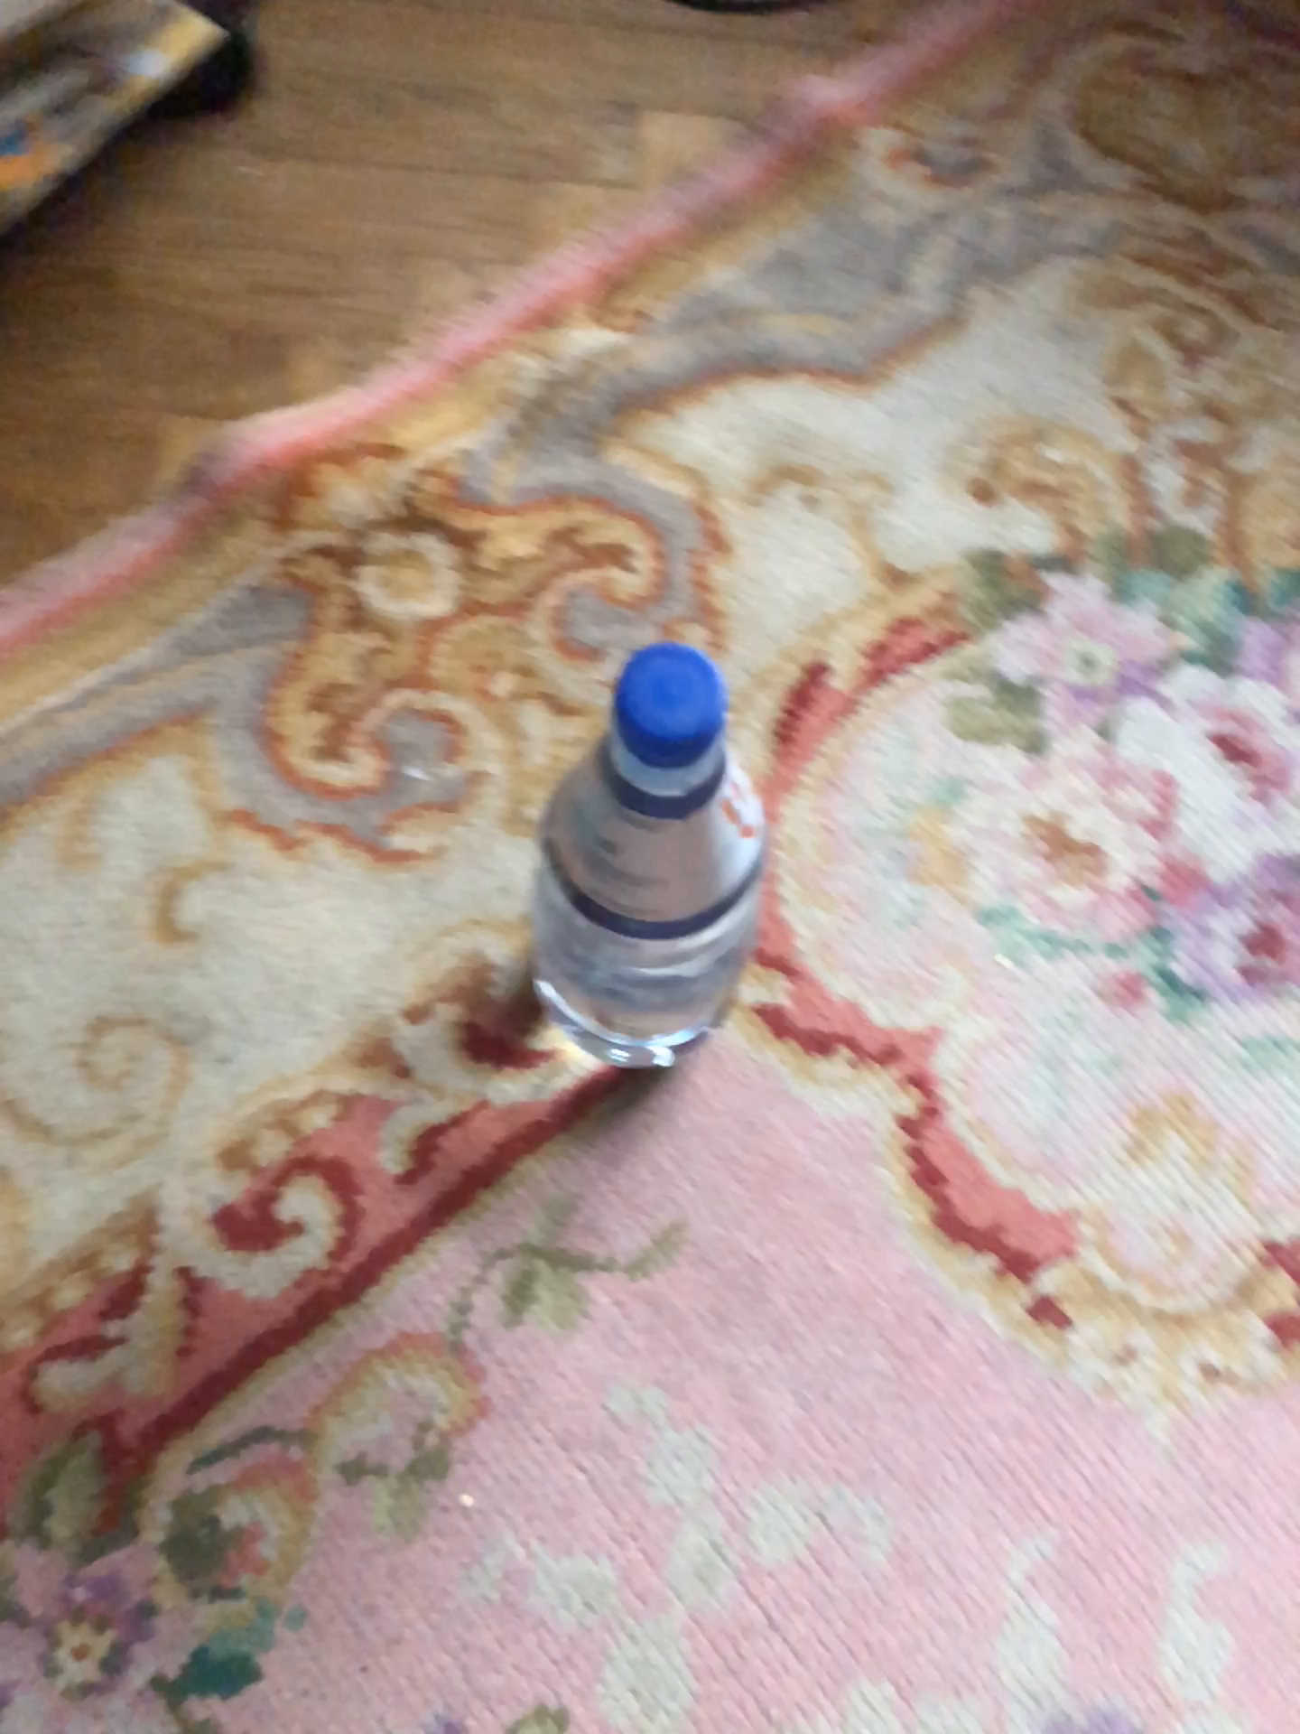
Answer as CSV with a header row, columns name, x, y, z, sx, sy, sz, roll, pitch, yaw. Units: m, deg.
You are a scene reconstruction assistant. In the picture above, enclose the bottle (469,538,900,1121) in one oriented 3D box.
name,x,y,z,sx,sy,sz,roll,pitch,yaw
bottle,0.000,0.012,0.537,0.100,0.309,0.110,-9,73,-6
